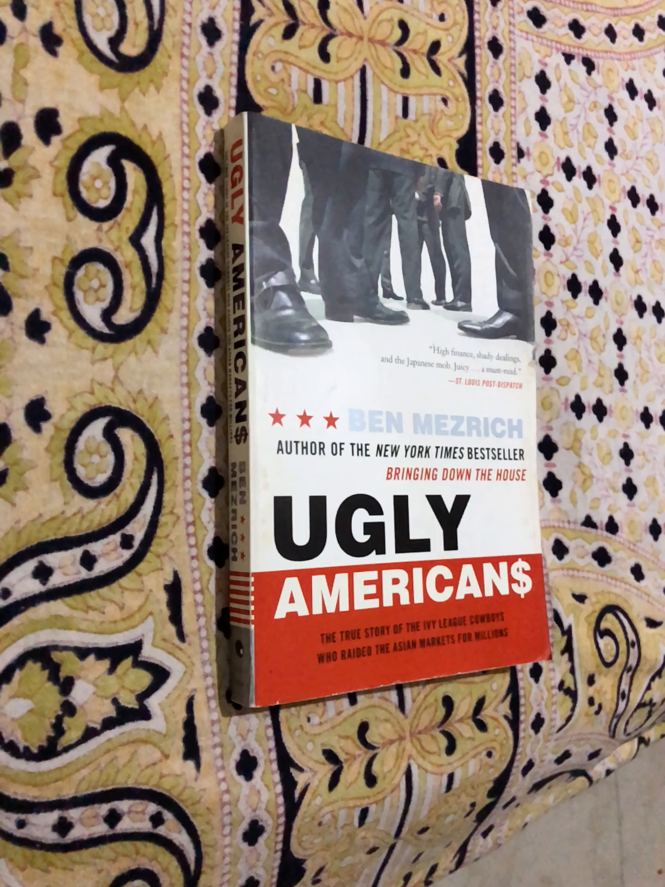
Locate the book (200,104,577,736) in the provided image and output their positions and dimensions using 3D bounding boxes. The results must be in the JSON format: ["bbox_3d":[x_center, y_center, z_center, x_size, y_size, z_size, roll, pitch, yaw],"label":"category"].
[{"bbox_3d":[0.024,-0.007,0.269,0.141,0.030,0.190,2,85,-30],"label":"book"}]
